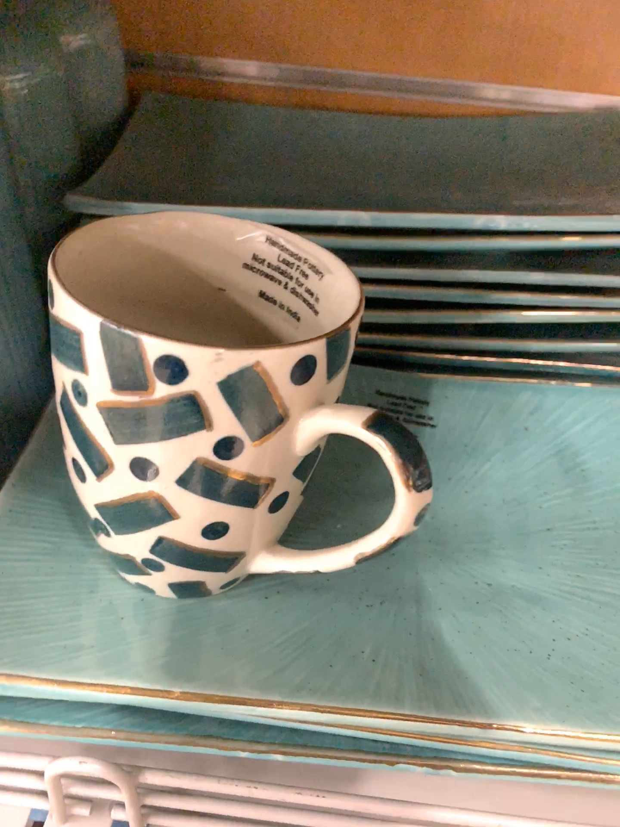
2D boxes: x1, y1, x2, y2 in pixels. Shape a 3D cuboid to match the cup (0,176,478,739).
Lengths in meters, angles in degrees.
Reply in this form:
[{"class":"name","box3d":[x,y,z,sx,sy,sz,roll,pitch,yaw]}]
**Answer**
[{"class":"cup","box3d":[-0.029,0.002,0.166,0.110,0.080,0.080,21,35,12]}]
